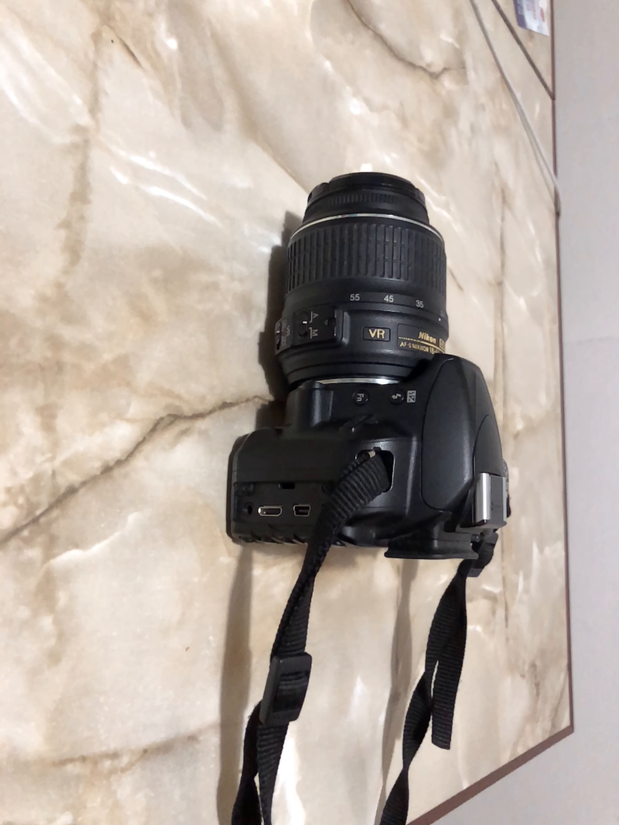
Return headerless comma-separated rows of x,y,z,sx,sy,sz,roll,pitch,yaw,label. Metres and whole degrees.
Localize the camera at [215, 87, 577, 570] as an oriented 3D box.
0.043,-0.018,0.298,0.126,0.099,0.160,14,74,-52,camera
